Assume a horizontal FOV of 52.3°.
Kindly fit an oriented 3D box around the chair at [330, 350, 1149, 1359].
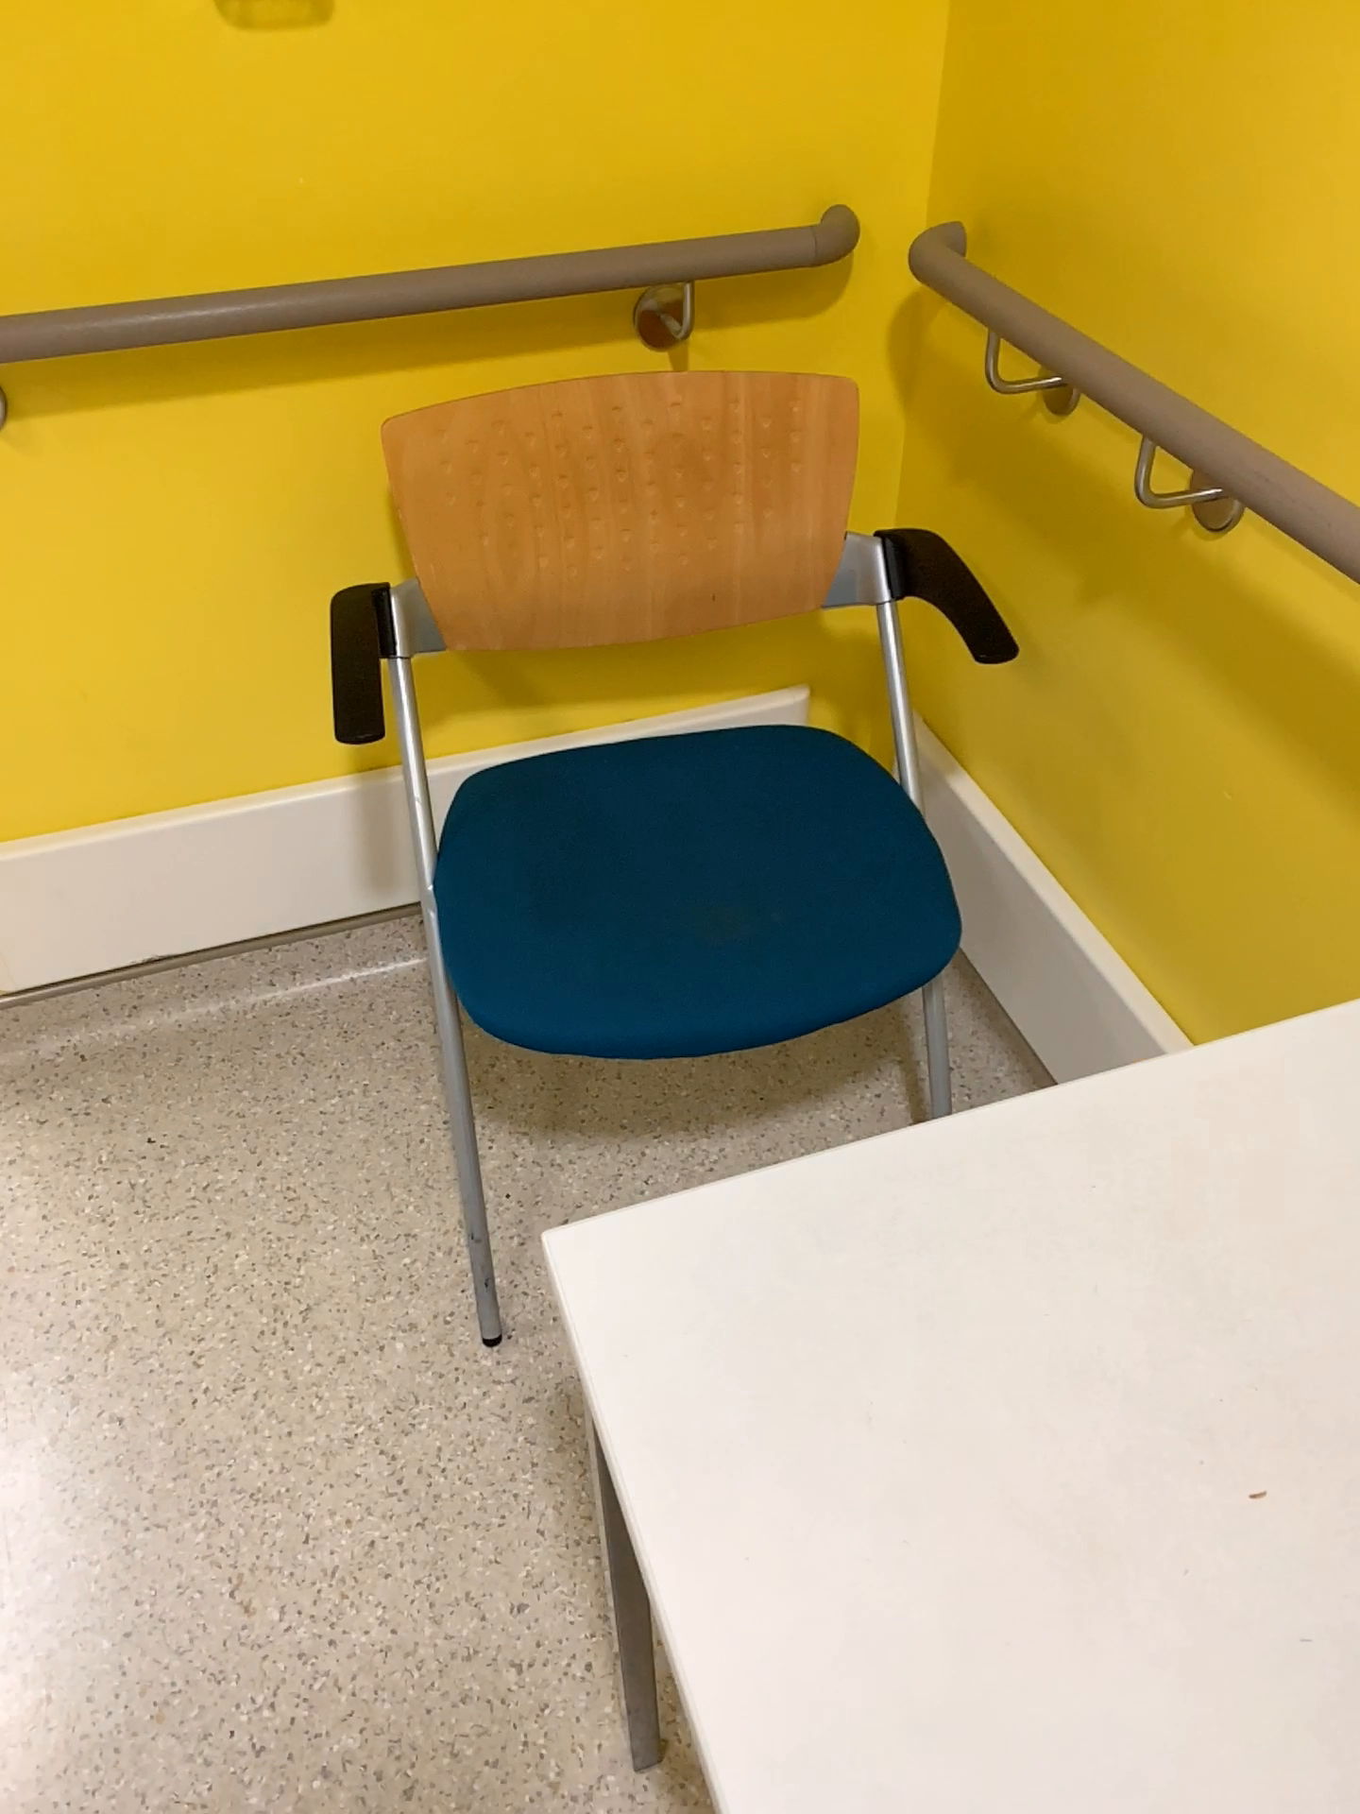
[{"bbox_3d":[0.013,-0.055,1.425,0.570,0.779,0.595,-6,40,-6],"label":"chair"}]
